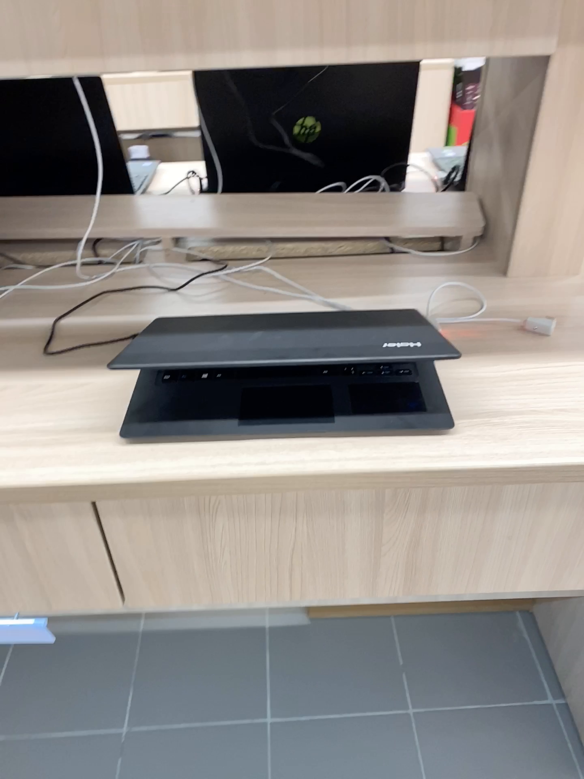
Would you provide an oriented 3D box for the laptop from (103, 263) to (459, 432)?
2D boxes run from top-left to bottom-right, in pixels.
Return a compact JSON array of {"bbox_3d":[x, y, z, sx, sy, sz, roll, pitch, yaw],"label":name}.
[{"bbox_3d":[-0.009,-0.053,0.635,0.319,0.072,0.202,-2,36,1],"label":"laptop"}]
